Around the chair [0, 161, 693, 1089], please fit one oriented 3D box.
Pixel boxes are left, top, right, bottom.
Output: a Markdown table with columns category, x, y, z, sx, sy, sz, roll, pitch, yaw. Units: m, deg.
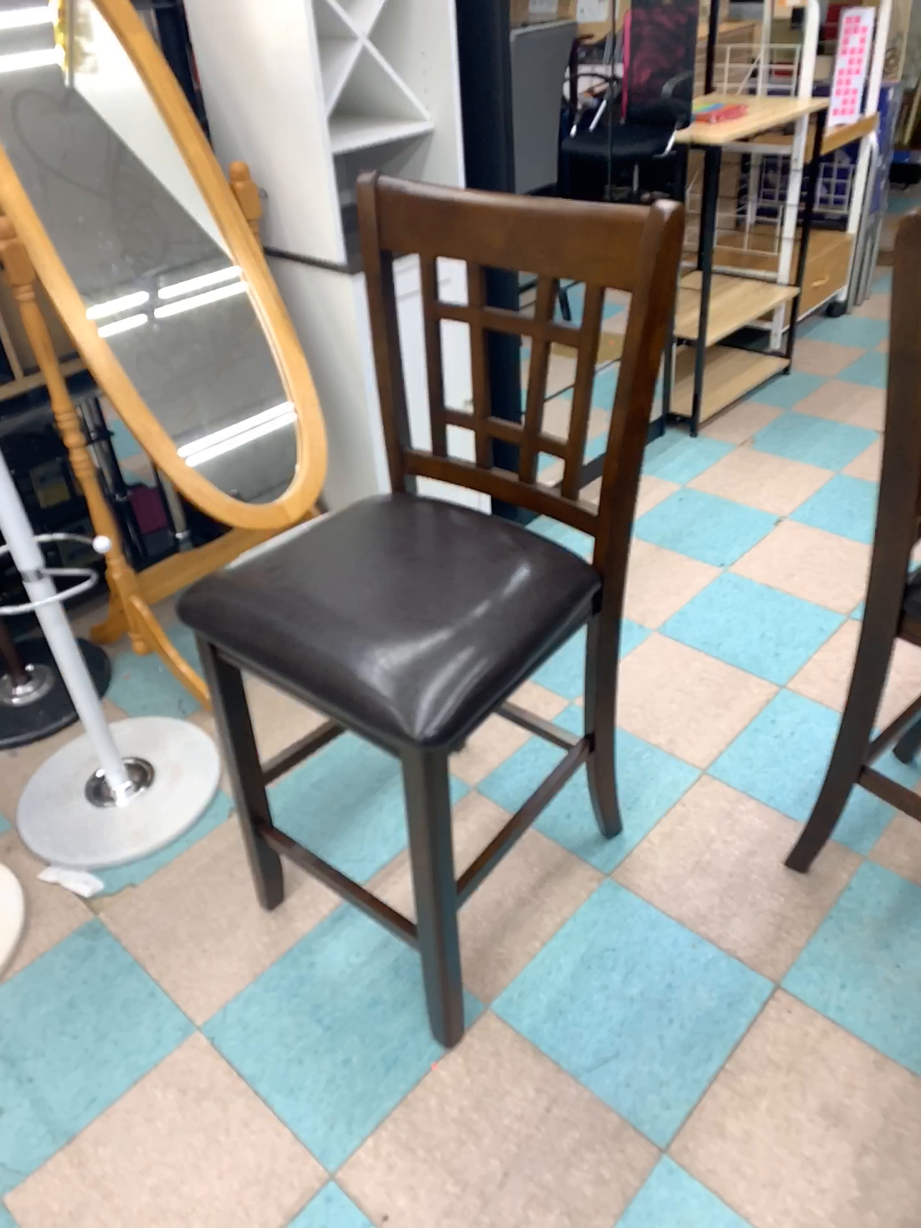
| category | x | y | z | sx | sy | sz | roll | pitch | yaw |
| --- | --- | --- | --- | --- | --- | --- | --- | --- | --- |
| chair | -0.090 | 0.003 | 1.077 | 0.469 | 0.849 | 0.482 | 24 | 45 | 34 |
